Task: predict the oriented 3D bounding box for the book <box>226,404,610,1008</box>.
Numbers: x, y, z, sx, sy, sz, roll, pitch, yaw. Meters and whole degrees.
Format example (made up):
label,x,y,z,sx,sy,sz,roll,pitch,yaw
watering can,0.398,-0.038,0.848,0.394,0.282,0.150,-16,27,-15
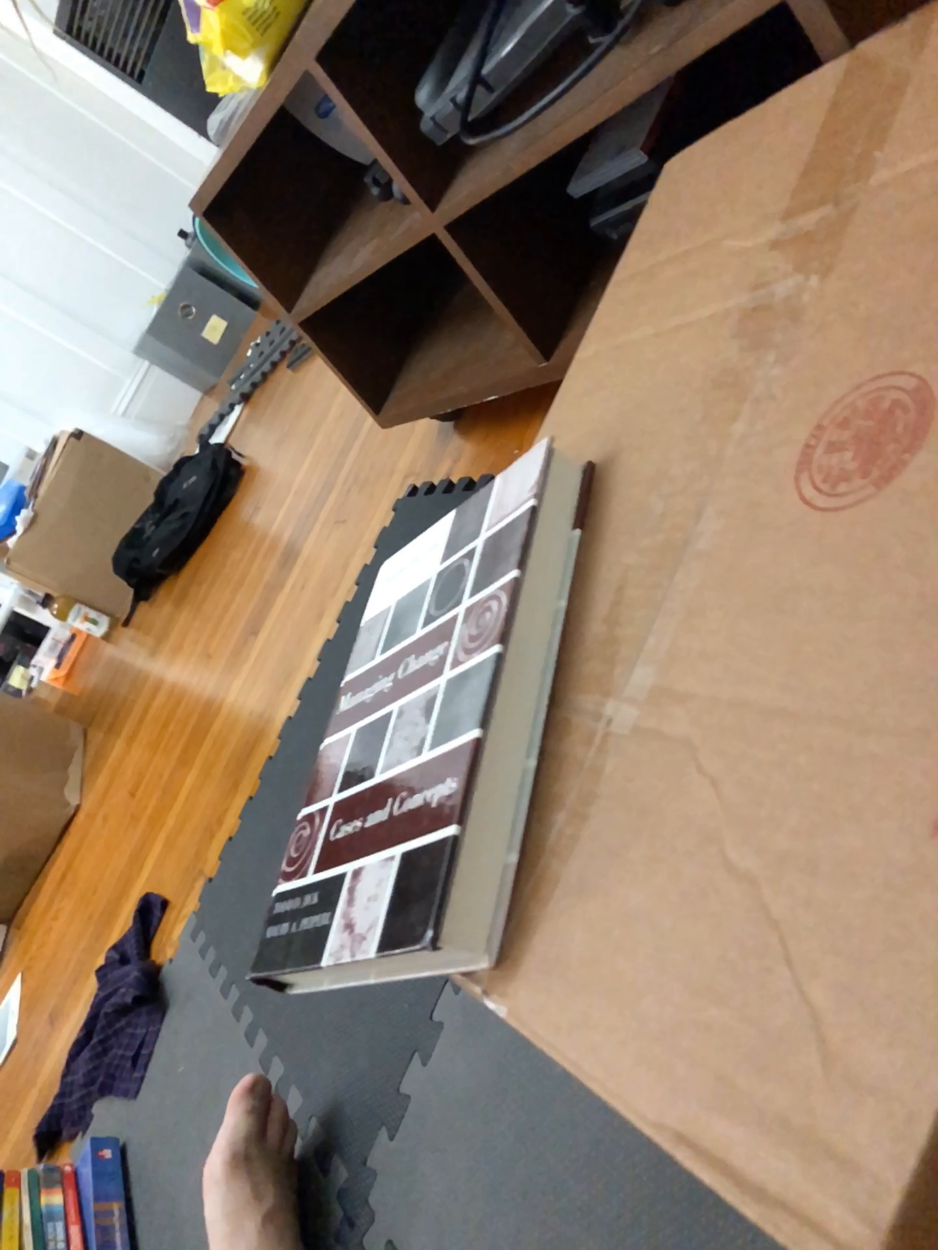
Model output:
label,x,y,z,sx,sy,sz,roll,pitch,yaw
book,-0.023,0.040,0.475,0.180,0.030,0.251,-30,39,49
